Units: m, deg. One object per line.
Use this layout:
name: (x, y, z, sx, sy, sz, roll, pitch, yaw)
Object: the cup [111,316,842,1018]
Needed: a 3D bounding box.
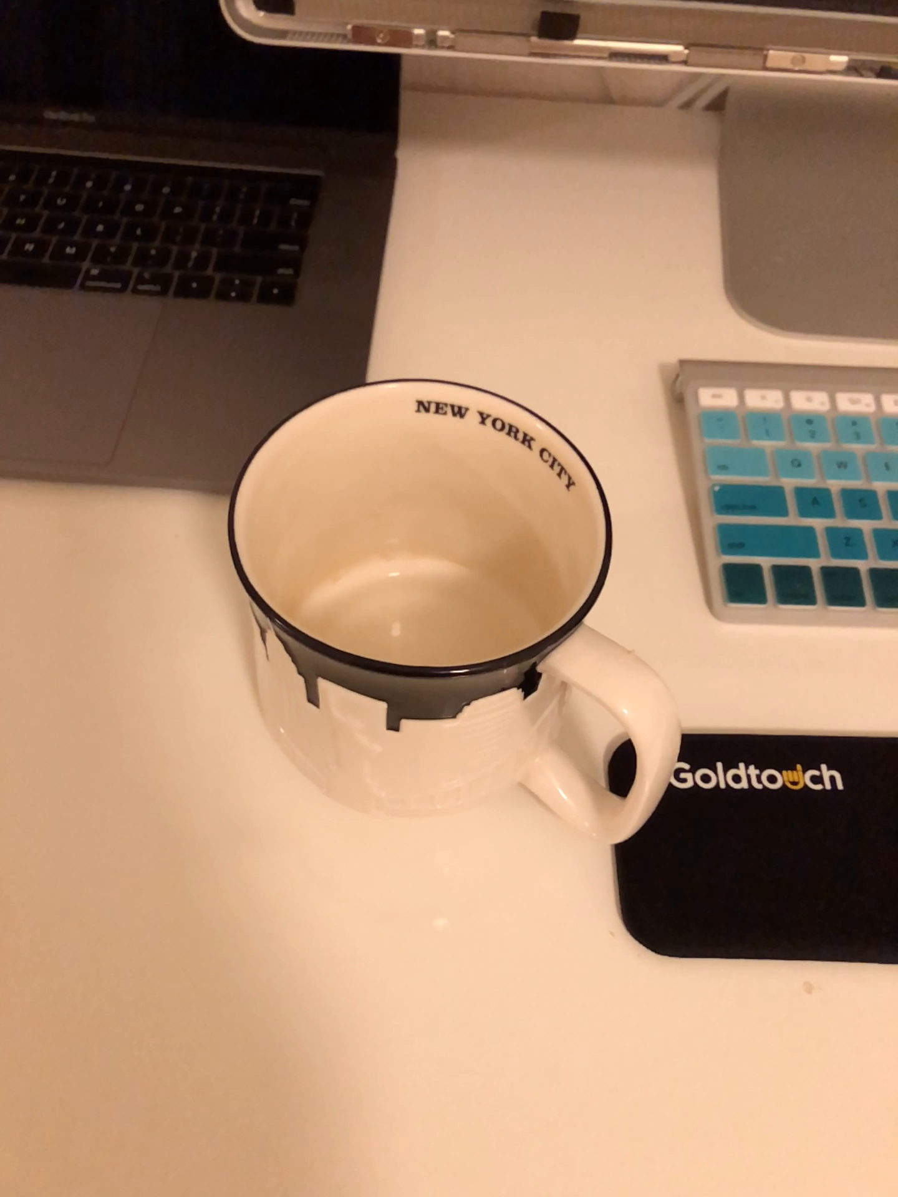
cup: (0.004, 0.015, 0.290, 0.150, 0.090, 0.110, 37, 61, 20)
